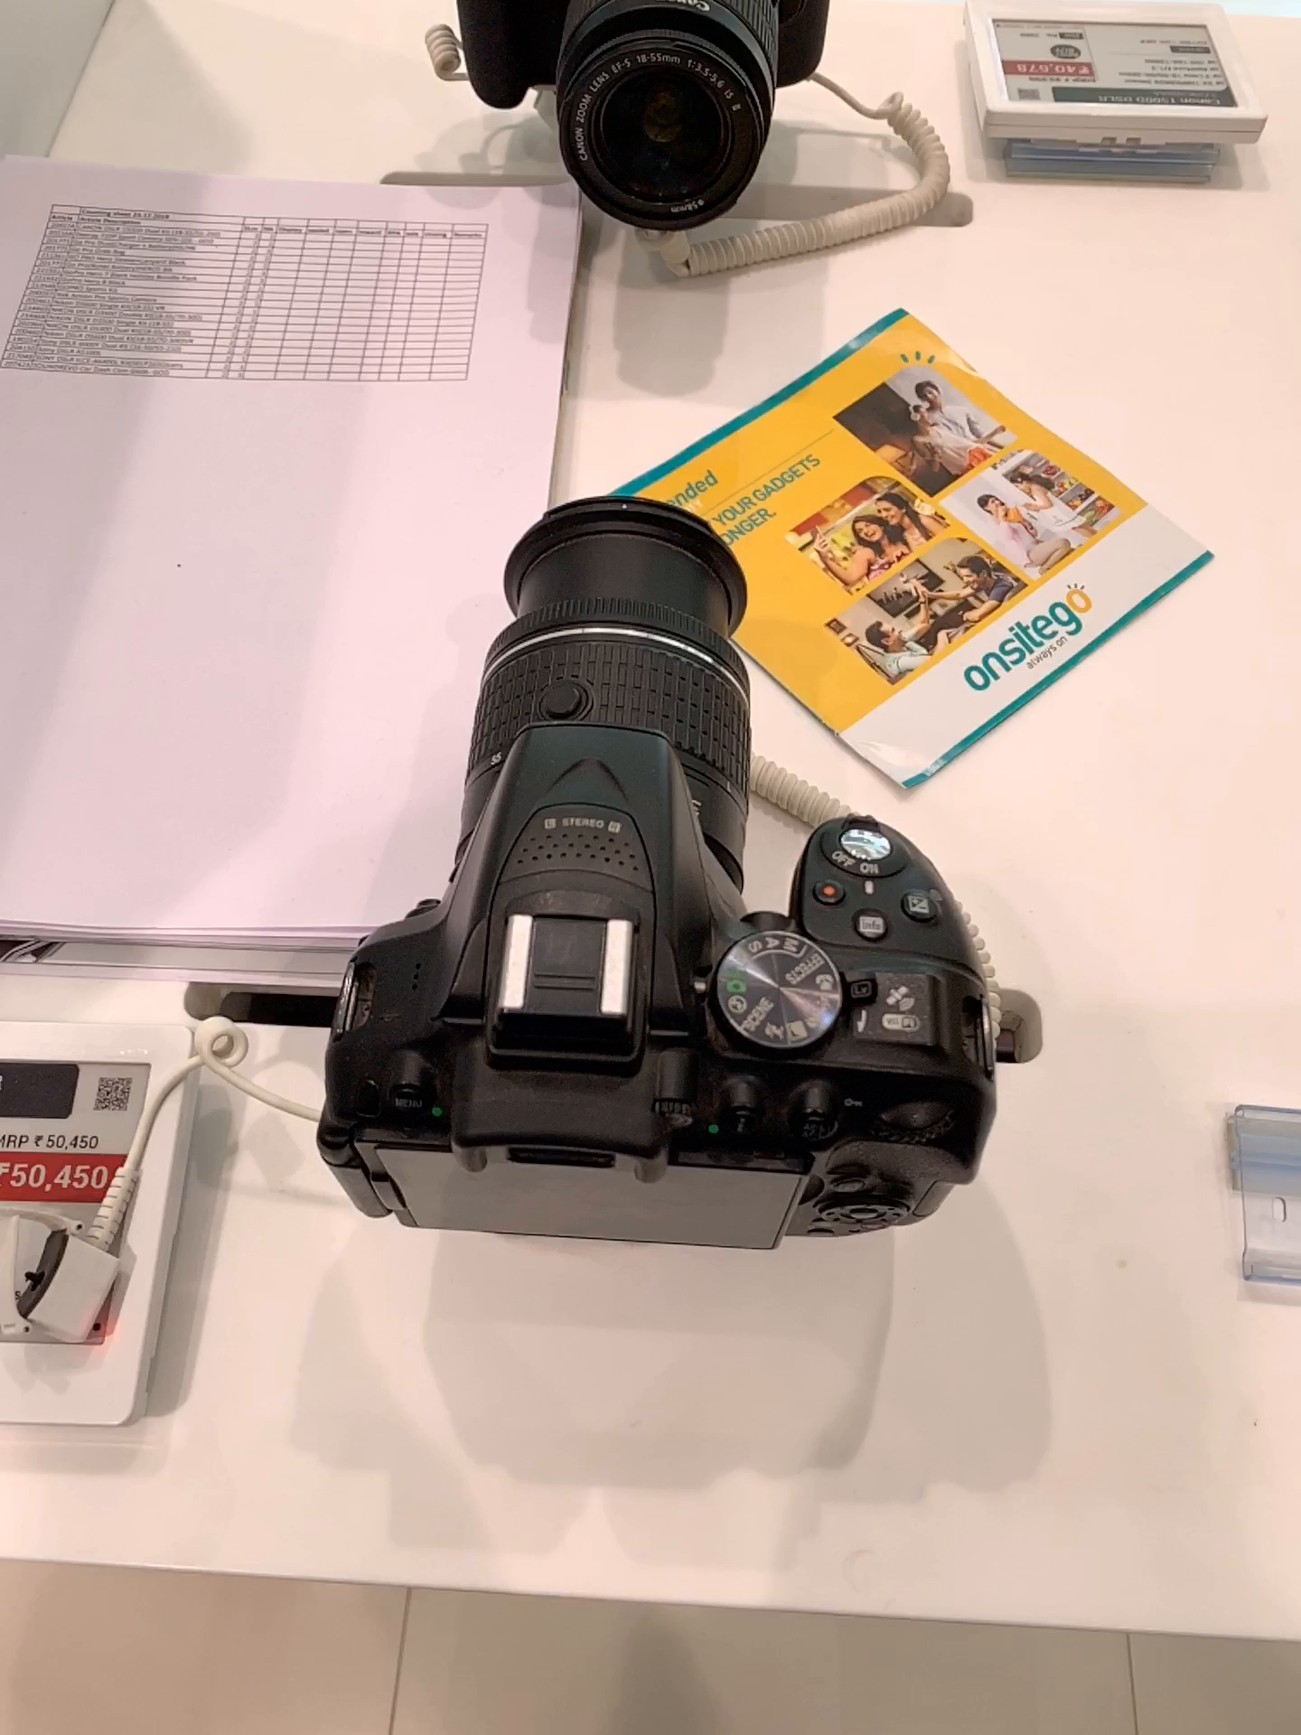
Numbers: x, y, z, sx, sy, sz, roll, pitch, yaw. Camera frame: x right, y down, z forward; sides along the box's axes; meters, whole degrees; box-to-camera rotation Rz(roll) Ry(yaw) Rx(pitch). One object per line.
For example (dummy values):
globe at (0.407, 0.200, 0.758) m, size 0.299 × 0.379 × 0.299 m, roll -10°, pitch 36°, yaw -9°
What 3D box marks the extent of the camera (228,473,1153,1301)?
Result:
camera at (0.008, 0.008, 0.240) m, size 0.118 × 0.100 × 0.107 m, roll 3°, pitch 61°, yaw 2°
